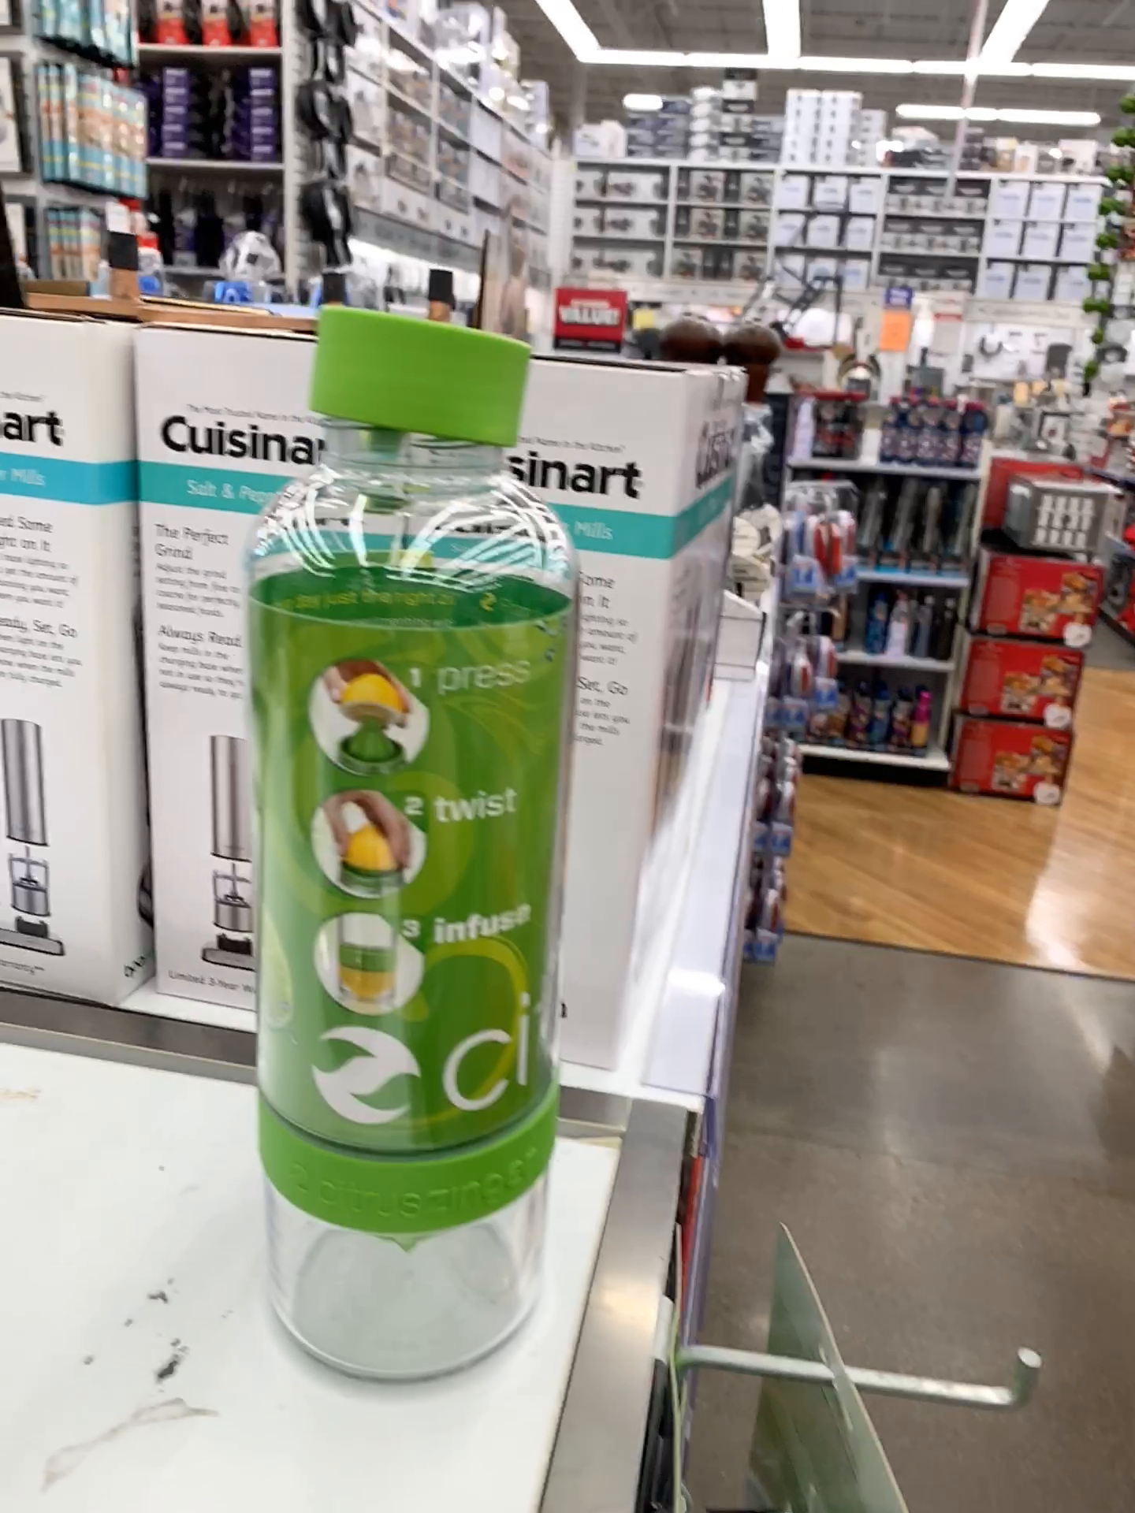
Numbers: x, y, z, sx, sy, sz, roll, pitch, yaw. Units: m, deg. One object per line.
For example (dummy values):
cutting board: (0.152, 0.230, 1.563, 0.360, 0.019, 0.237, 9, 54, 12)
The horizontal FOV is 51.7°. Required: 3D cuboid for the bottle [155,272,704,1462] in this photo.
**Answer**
bottle: (-0.036, 0.023, 0.279, 0.081, 0.250, 0.078, 4, 19, -1)
